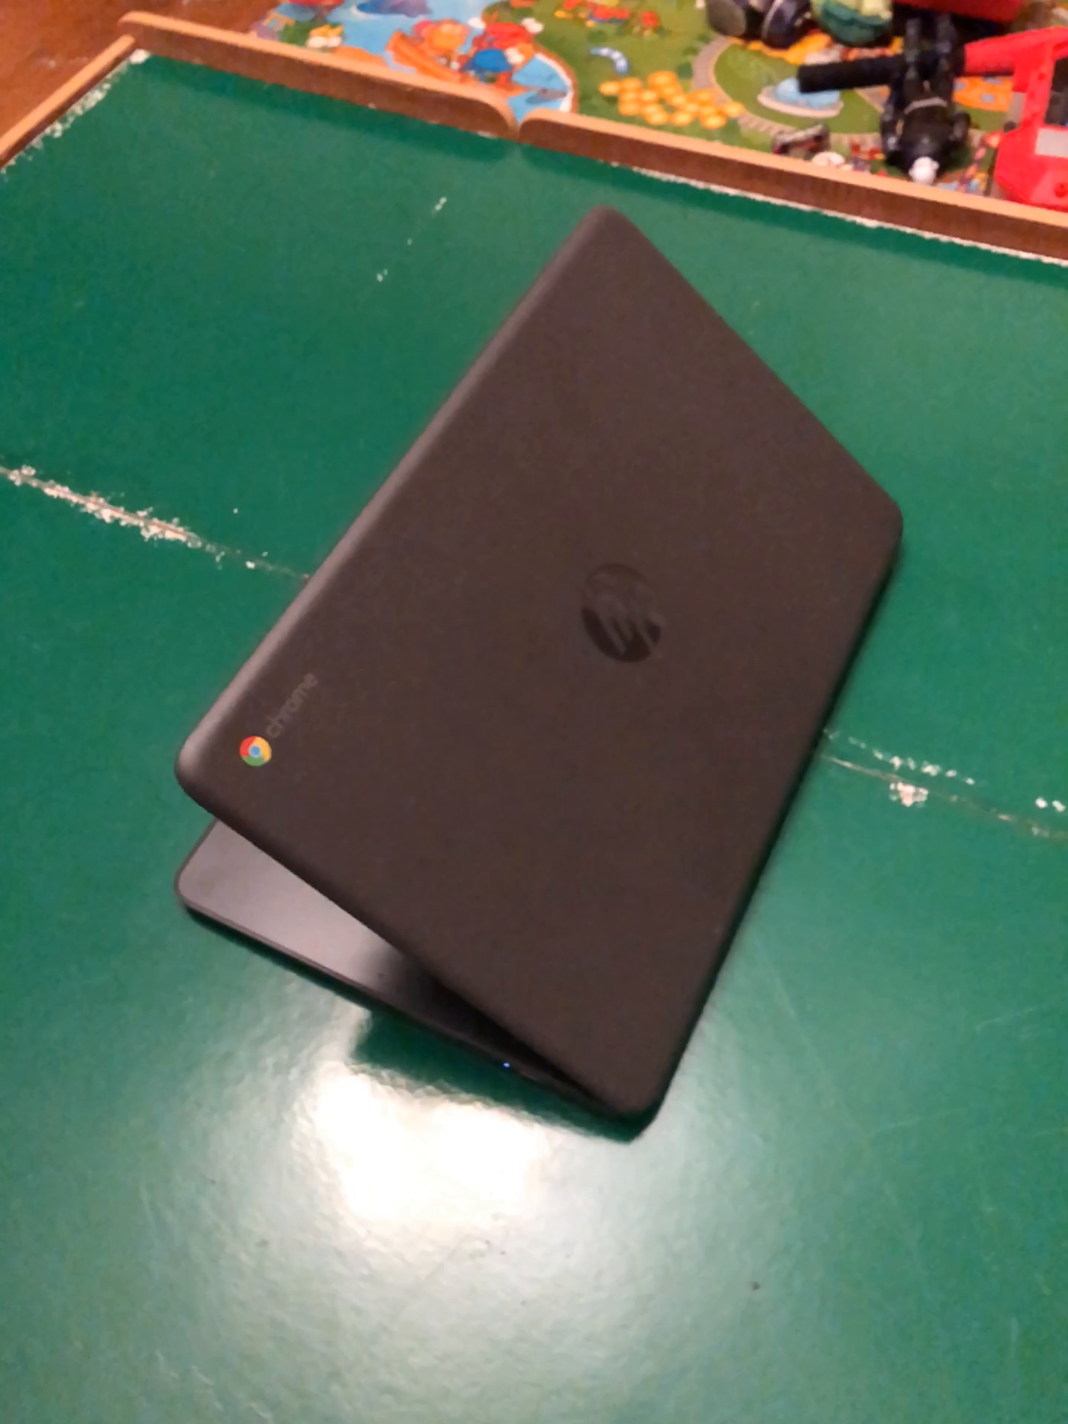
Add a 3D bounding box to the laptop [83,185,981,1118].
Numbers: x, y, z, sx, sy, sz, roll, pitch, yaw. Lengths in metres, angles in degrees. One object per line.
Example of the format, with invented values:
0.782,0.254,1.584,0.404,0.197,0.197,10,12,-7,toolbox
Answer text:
0.020,-0.043,0.488,0.208,0.144,0.317,21,61,17,laptop
